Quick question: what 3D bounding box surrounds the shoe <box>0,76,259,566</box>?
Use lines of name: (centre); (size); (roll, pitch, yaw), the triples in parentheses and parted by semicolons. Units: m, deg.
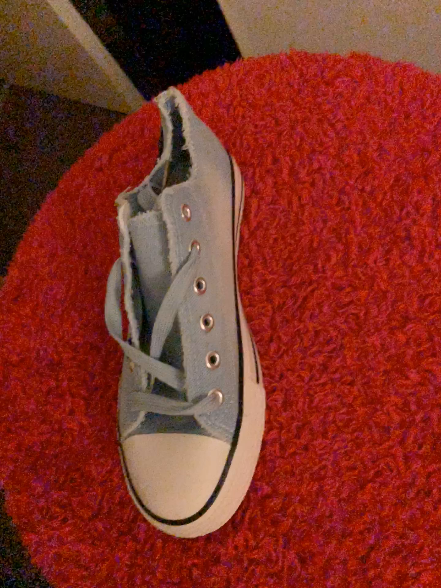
shoe: (-0.038, 0.008, 0.273); (0.097, 0.087, 0.251); (-9, 64, 22)
